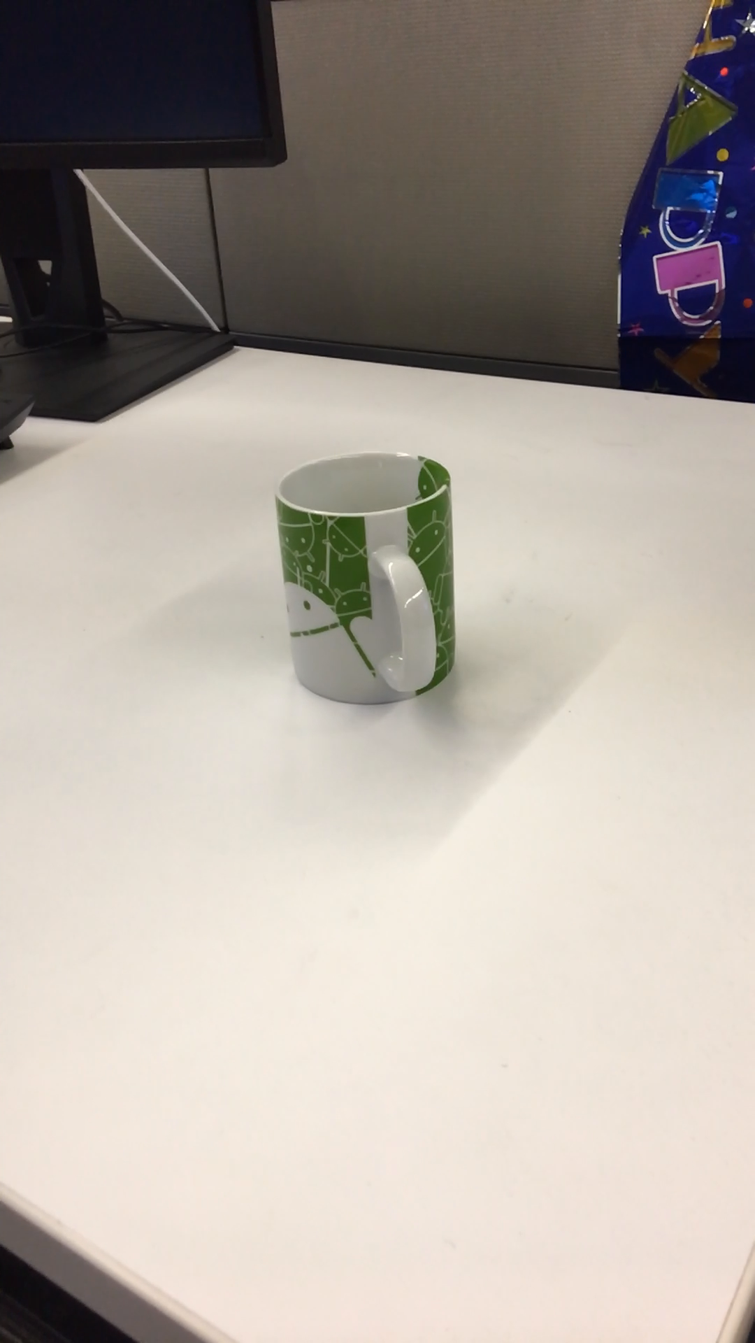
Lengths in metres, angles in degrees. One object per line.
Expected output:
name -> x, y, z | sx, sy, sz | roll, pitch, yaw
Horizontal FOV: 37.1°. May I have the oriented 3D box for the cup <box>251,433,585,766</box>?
cup -> 0.017, -0.037, 0.487 | 0.090, 0.090, 0.110 | -22, 35, -28
